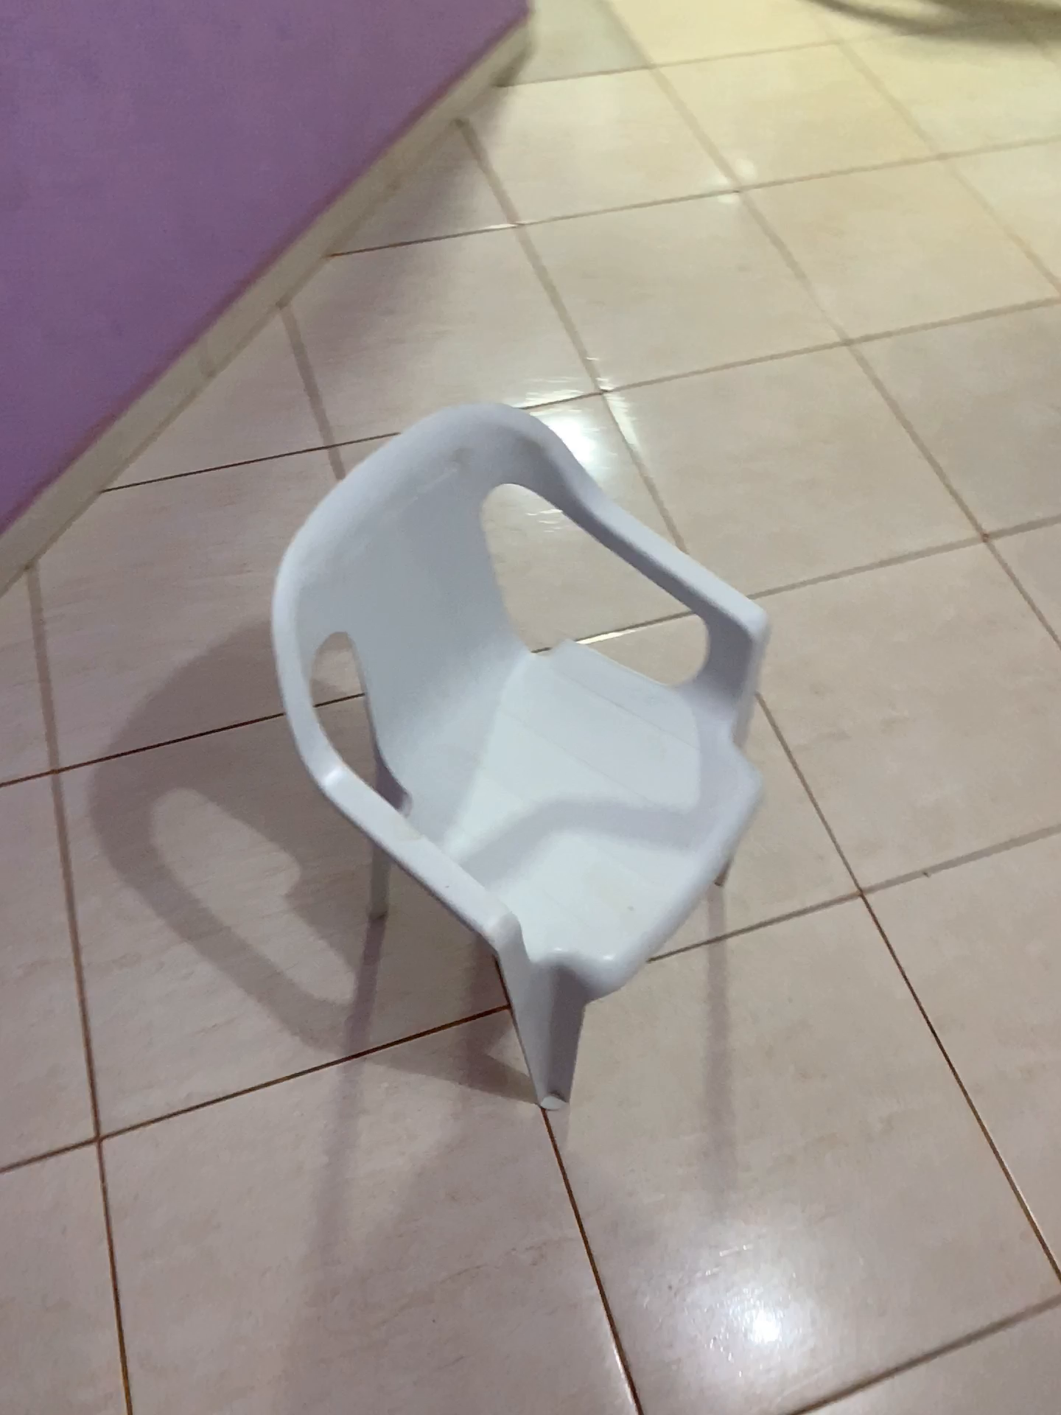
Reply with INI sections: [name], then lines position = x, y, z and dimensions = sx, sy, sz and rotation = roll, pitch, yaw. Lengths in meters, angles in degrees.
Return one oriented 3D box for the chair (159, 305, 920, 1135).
[chair]
position = 0.004, 0.054, 1.008
dimensions = 0.361, 0.596, 0.402
rotation = 35, 62, 17
